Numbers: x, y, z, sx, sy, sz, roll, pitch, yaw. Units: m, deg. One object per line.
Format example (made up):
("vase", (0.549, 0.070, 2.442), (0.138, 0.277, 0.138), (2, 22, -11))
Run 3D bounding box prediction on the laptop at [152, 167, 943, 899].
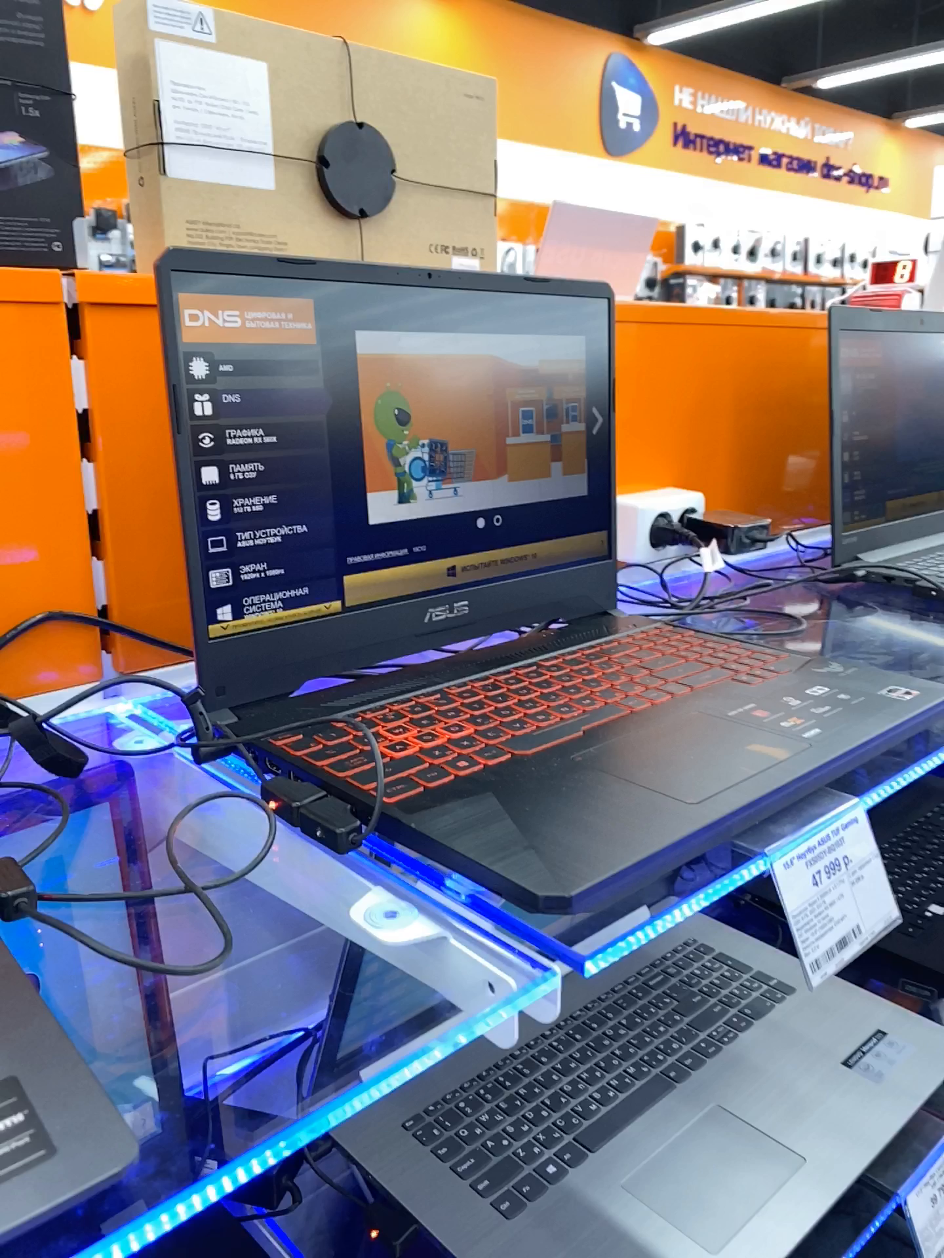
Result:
("laptop", (0.067, -0.079, 0.544), (0.359, 0.248, 0.286), (-13, 19, -41))
